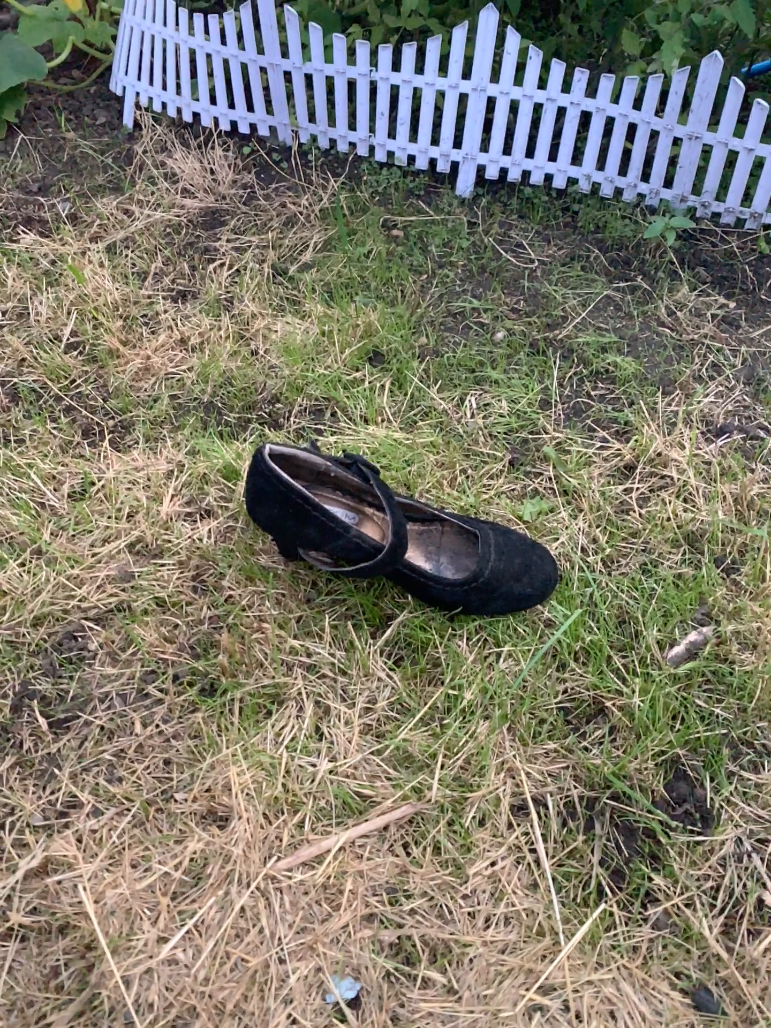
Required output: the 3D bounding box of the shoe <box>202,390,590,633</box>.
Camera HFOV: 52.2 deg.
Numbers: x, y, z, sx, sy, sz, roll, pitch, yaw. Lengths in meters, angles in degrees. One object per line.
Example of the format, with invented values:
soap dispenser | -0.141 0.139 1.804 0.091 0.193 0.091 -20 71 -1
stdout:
shoe | 0.012 -0.003 0.580 0.250 0.109 0.111 6 49 6
